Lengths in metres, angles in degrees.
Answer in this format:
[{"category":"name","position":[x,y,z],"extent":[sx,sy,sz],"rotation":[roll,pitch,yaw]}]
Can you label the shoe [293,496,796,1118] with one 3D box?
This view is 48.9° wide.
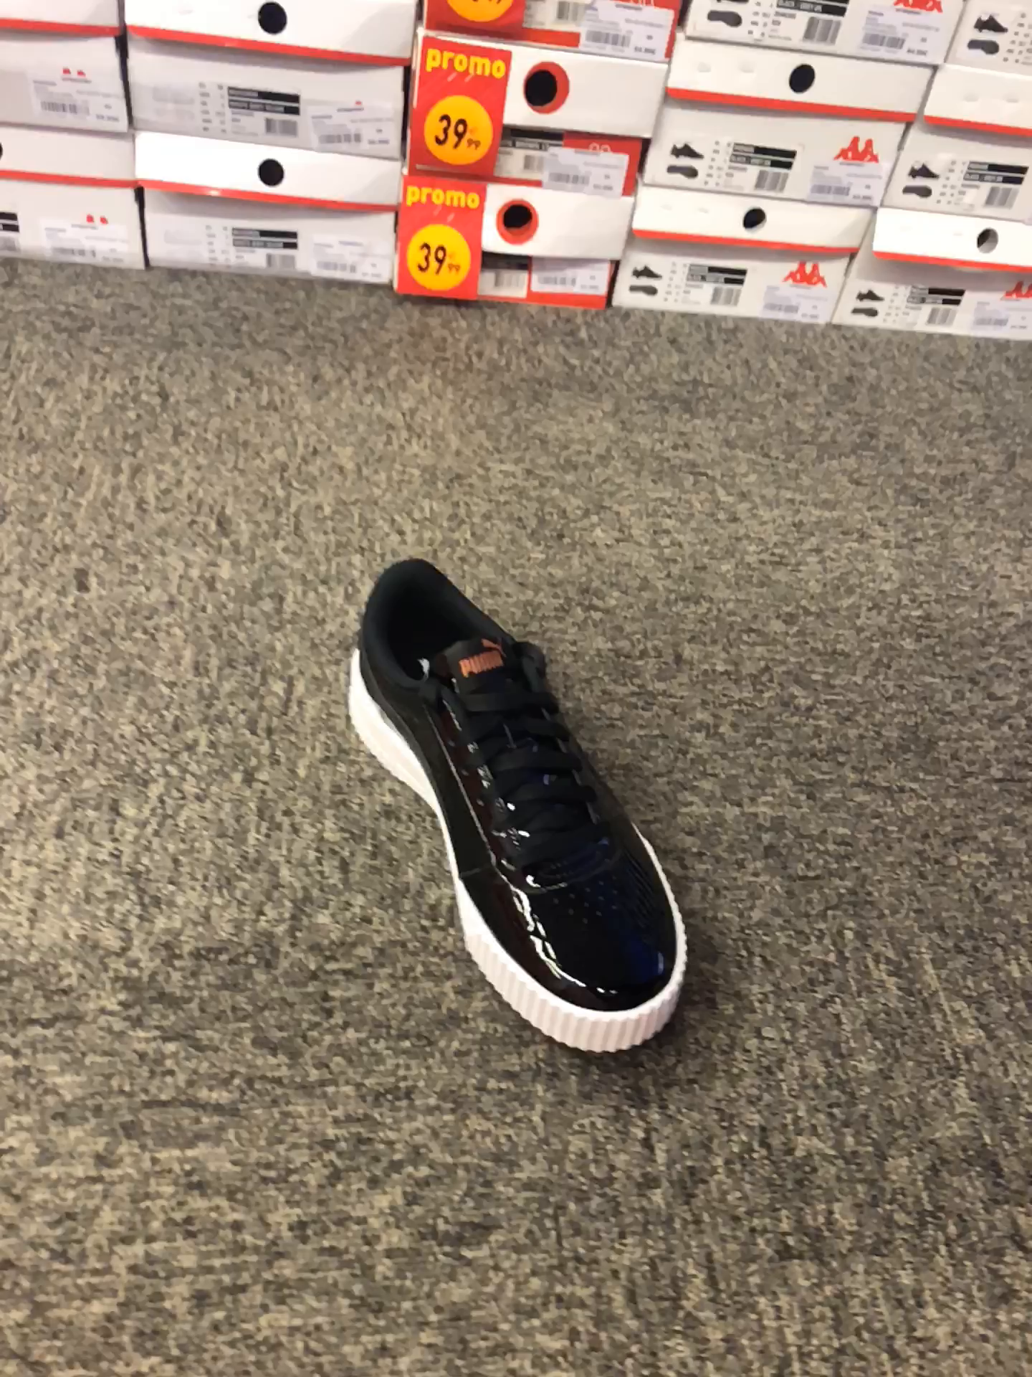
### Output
[{"category":"shoe","position":[-0.005,0.040,0.524],"extent":[0.100,0.099,0.260],"rotation":[-18,54,-26]}]
